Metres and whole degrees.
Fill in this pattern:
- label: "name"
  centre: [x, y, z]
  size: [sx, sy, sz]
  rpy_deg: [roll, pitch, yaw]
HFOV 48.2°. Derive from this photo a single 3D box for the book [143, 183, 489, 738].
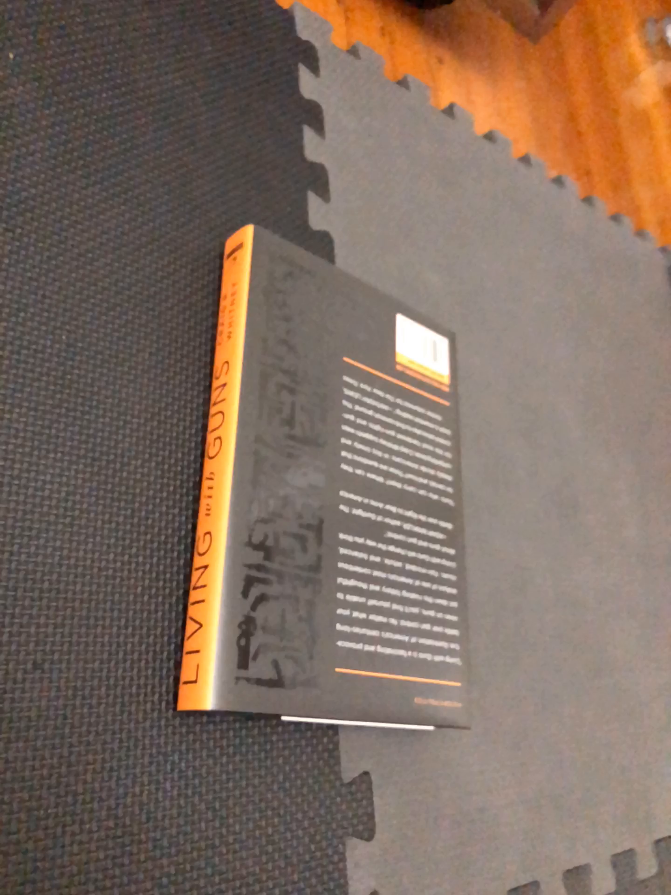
- label: "book"
  centre: [0.003, 0.010, 0.399]
  size: [0.171, 0.040, 0.261]
  rpy_deg: [20, 60, -34]
